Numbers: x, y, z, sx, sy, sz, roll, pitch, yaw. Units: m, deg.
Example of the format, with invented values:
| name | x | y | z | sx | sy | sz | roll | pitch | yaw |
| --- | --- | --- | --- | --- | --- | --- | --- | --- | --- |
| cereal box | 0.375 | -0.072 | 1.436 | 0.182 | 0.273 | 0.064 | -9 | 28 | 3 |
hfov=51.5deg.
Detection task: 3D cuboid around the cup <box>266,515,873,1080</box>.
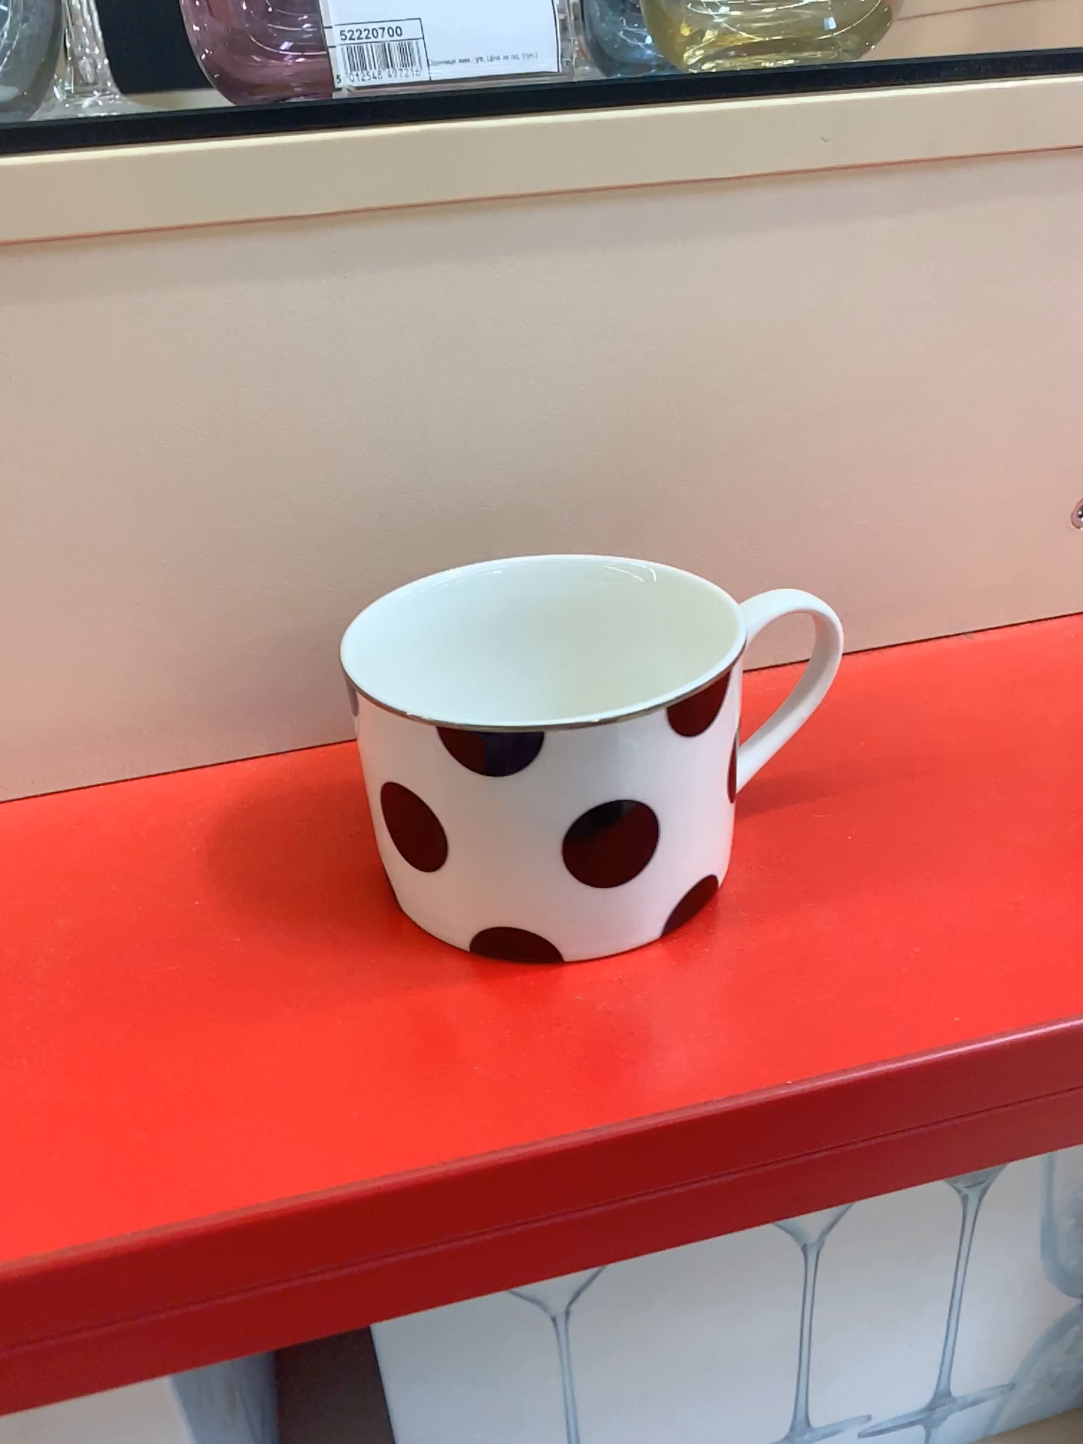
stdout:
| name | x | y | z | sx | sy | sz | roll | pitch | yaw |
| --- | --- | --- | --- | --- | --- | --- | --- | --- | --- |
| cup | 0.002 | 0.009 | 0.241 | 0.100 | 0.070 | 0.080 | -13 | 29 | -15 |
